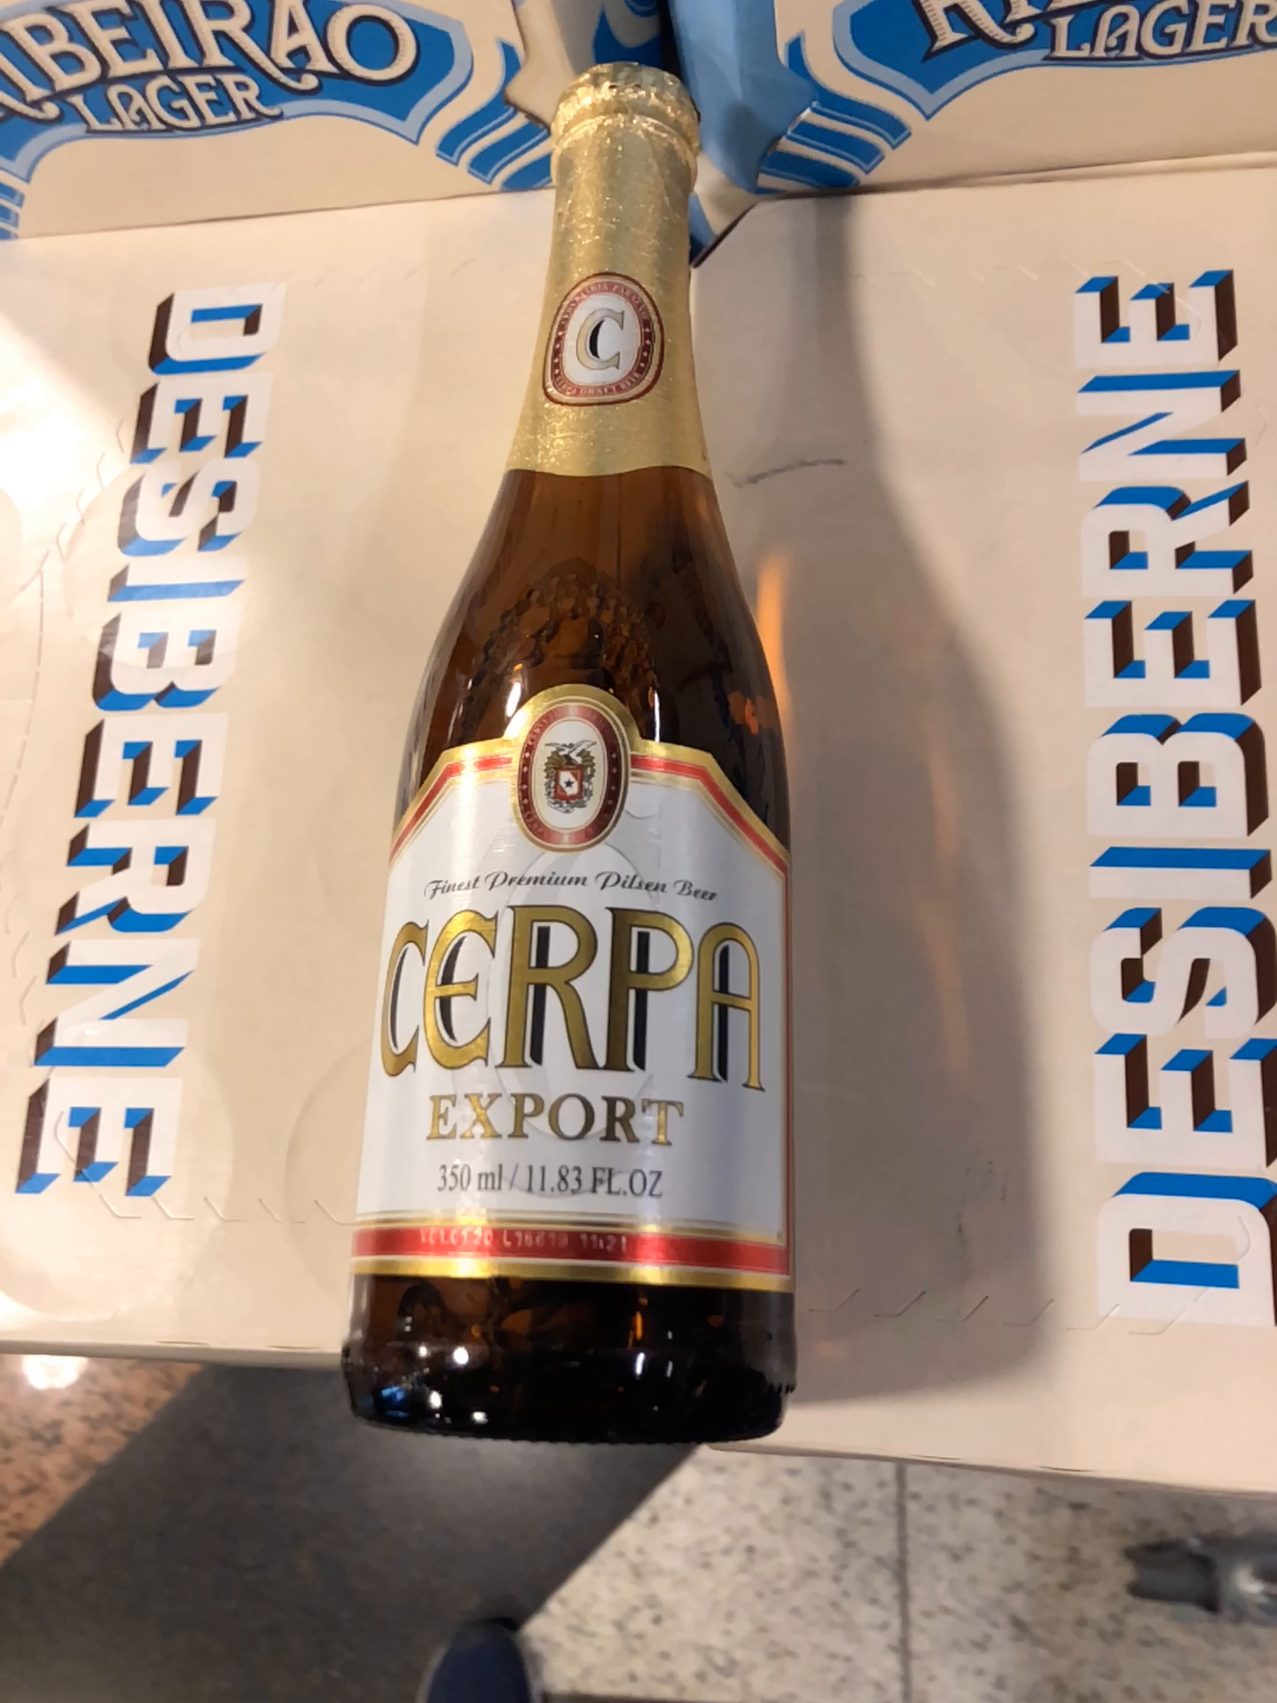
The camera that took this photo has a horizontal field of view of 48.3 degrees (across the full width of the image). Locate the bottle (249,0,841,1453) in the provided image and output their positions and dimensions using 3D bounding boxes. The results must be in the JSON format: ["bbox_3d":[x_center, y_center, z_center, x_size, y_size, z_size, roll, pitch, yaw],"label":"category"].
[{"bbox_3d":[-0.009,-0.036,0.232,0.070,0.060,0.240,-3,73,9],"label":"bottle"}]
